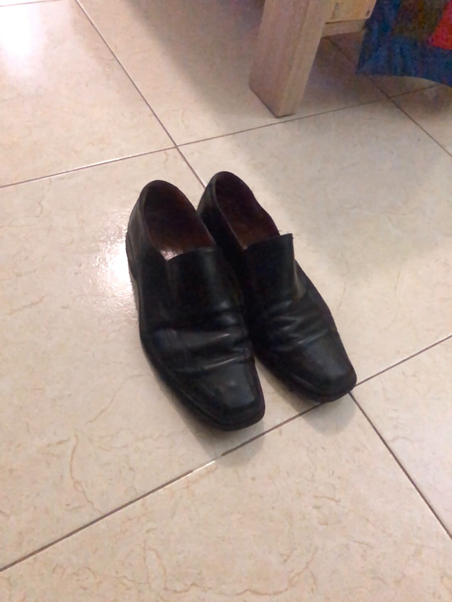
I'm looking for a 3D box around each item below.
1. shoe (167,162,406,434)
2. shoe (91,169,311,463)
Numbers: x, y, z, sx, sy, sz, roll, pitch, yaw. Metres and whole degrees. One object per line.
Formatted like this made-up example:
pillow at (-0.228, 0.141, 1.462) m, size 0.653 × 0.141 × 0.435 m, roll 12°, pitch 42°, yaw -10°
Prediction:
shoe at (0.053, -0.018, 0.597) m, size 0.120 × 0.090 × 0.310 m, roll -21°, pitch 62°, yaw -23°
shoe at (-0.044, 0.000, 0.558) m, size 0.120 × 0.090 × 0.311 m, roll -16°, pitch 60°, yaw -20°
